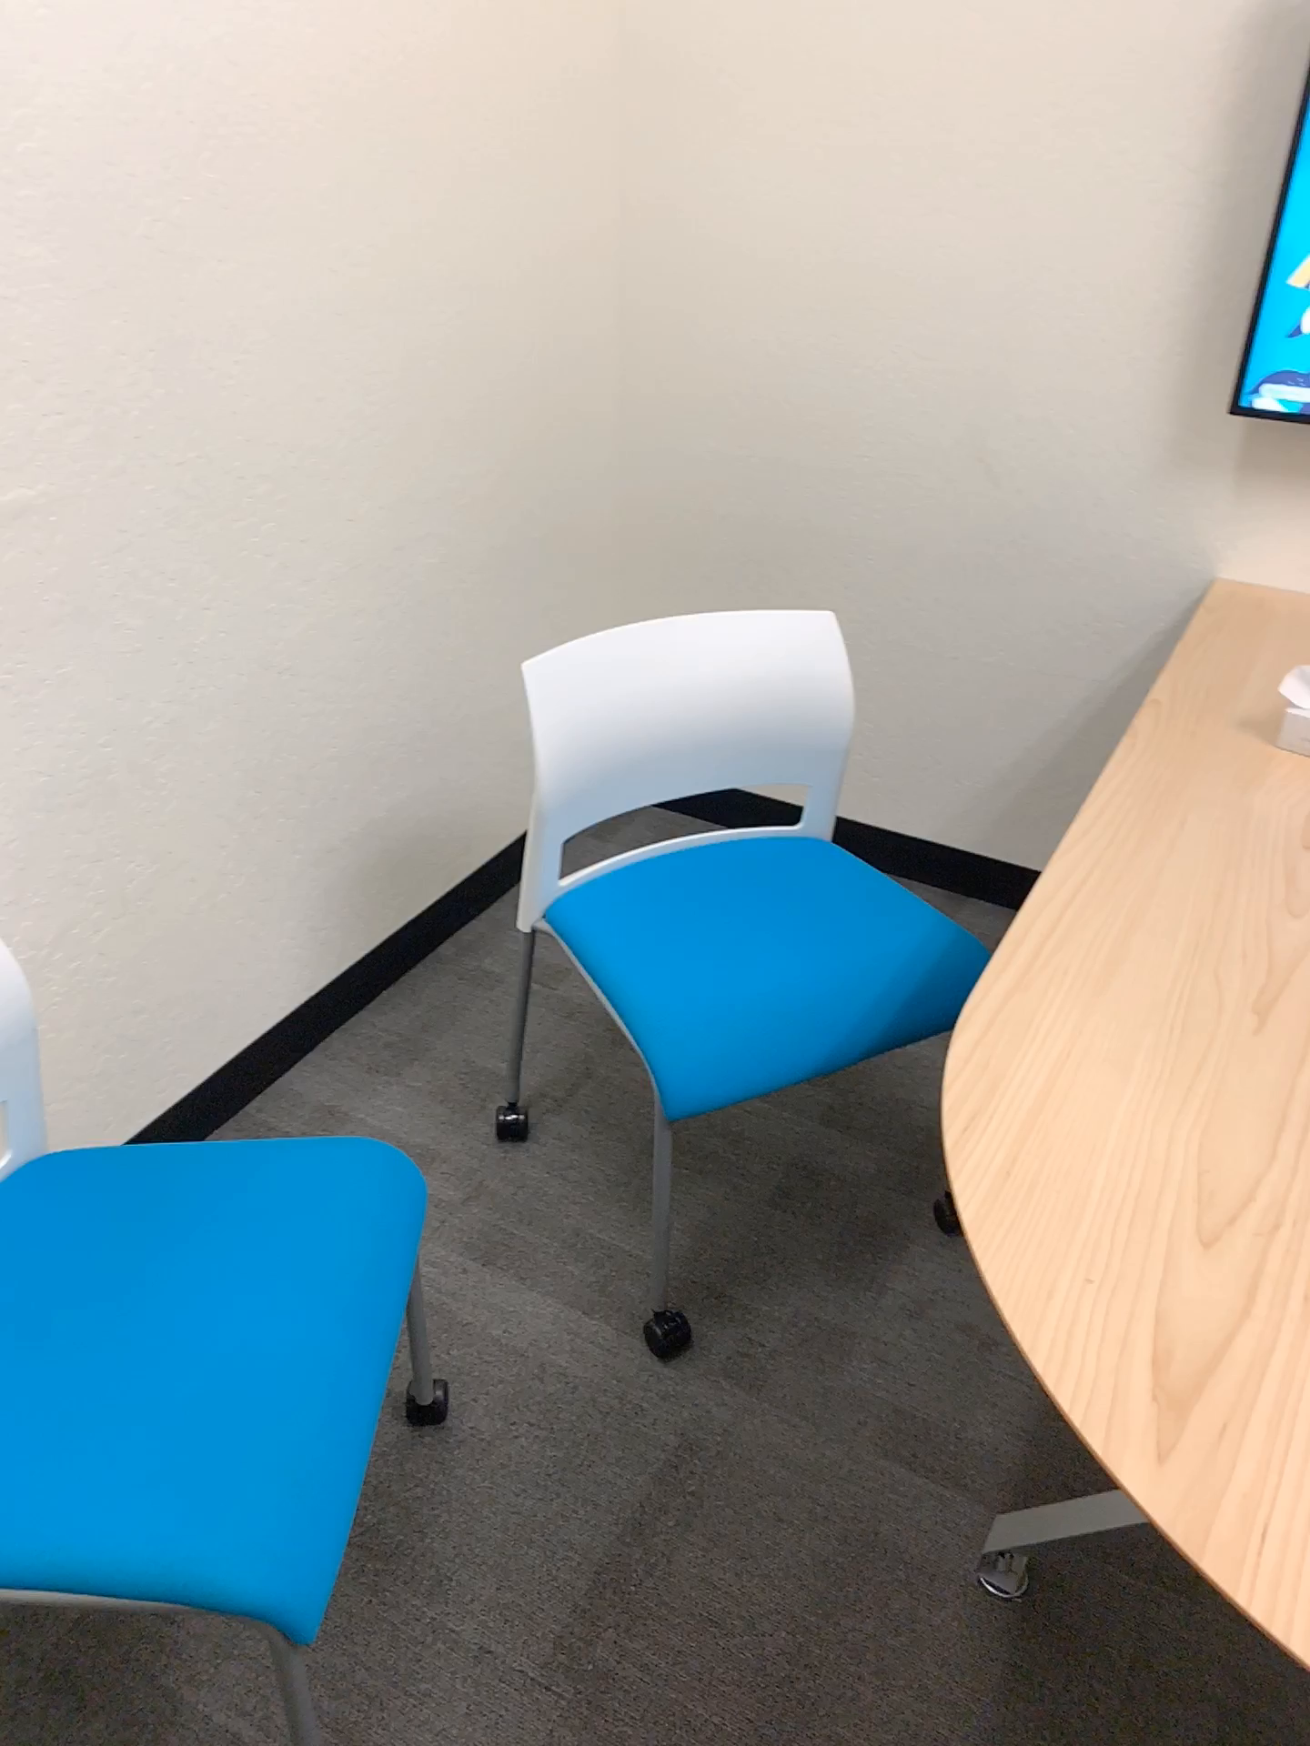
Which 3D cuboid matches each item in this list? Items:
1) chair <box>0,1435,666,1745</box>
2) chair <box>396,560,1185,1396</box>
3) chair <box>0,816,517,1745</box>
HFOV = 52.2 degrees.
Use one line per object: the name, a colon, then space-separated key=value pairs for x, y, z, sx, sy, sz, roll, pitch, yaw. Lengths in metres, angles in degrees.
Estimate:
chair: x=-0.374 y=0.805 z=0.647 sx=0.690 sy=0.716 sz=0.644 roll=-2 pitch=32 yaw=-4
chair: x=0.138 y=0.083 z=1.912 sx=0.750 sy=0.765 sz=0.694 roll=-15 pitch=35 yaw=-24
chair: x=-0.533 y=0.449 z=1.246 sx=0.690 sy=0.755 sz=0.644 roll=2 pitch=32 yaw=2
